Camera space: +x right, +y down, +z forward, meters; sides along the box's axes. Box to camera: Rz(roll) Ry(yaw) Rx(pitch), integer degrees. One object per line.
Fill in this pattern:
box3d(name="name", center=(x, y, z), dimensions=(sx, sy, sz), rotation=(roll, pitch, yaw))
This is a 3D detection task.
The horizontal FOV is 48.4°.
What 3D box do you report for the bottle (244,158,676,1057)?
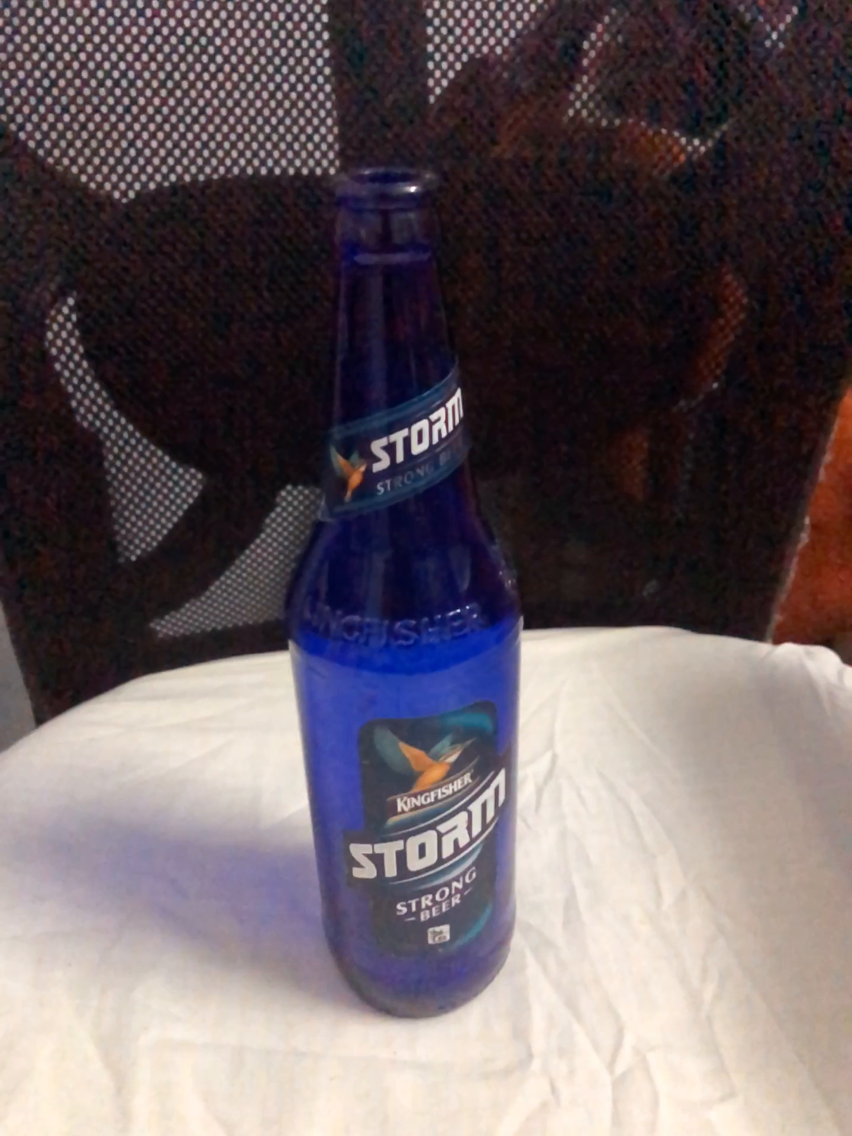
box3d(name="bottle", center=(0.000, 0.028, 0.273), dimensions=(0.080, 0.259, 0.070), rotation=(-5, 33, -9))
